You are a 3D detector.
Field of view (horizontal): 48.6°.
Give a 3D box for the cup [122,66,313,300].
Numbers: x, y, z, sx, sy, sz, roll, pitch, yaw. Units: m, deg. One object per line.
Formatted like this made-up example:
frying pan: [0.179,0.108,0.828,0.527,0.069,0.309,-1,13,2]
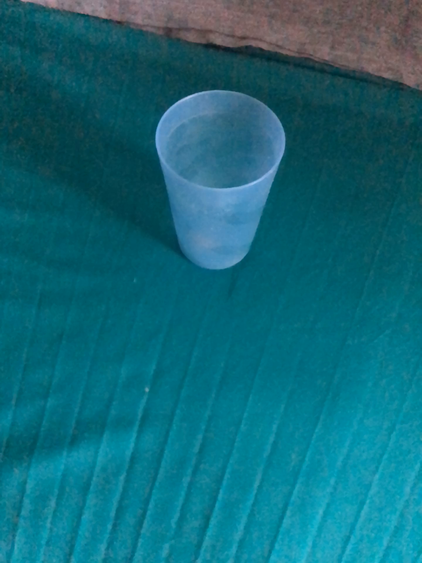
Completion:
cup: [0.004,-0.052,0.290,0.078,0.119,0.066,20,68,7]
